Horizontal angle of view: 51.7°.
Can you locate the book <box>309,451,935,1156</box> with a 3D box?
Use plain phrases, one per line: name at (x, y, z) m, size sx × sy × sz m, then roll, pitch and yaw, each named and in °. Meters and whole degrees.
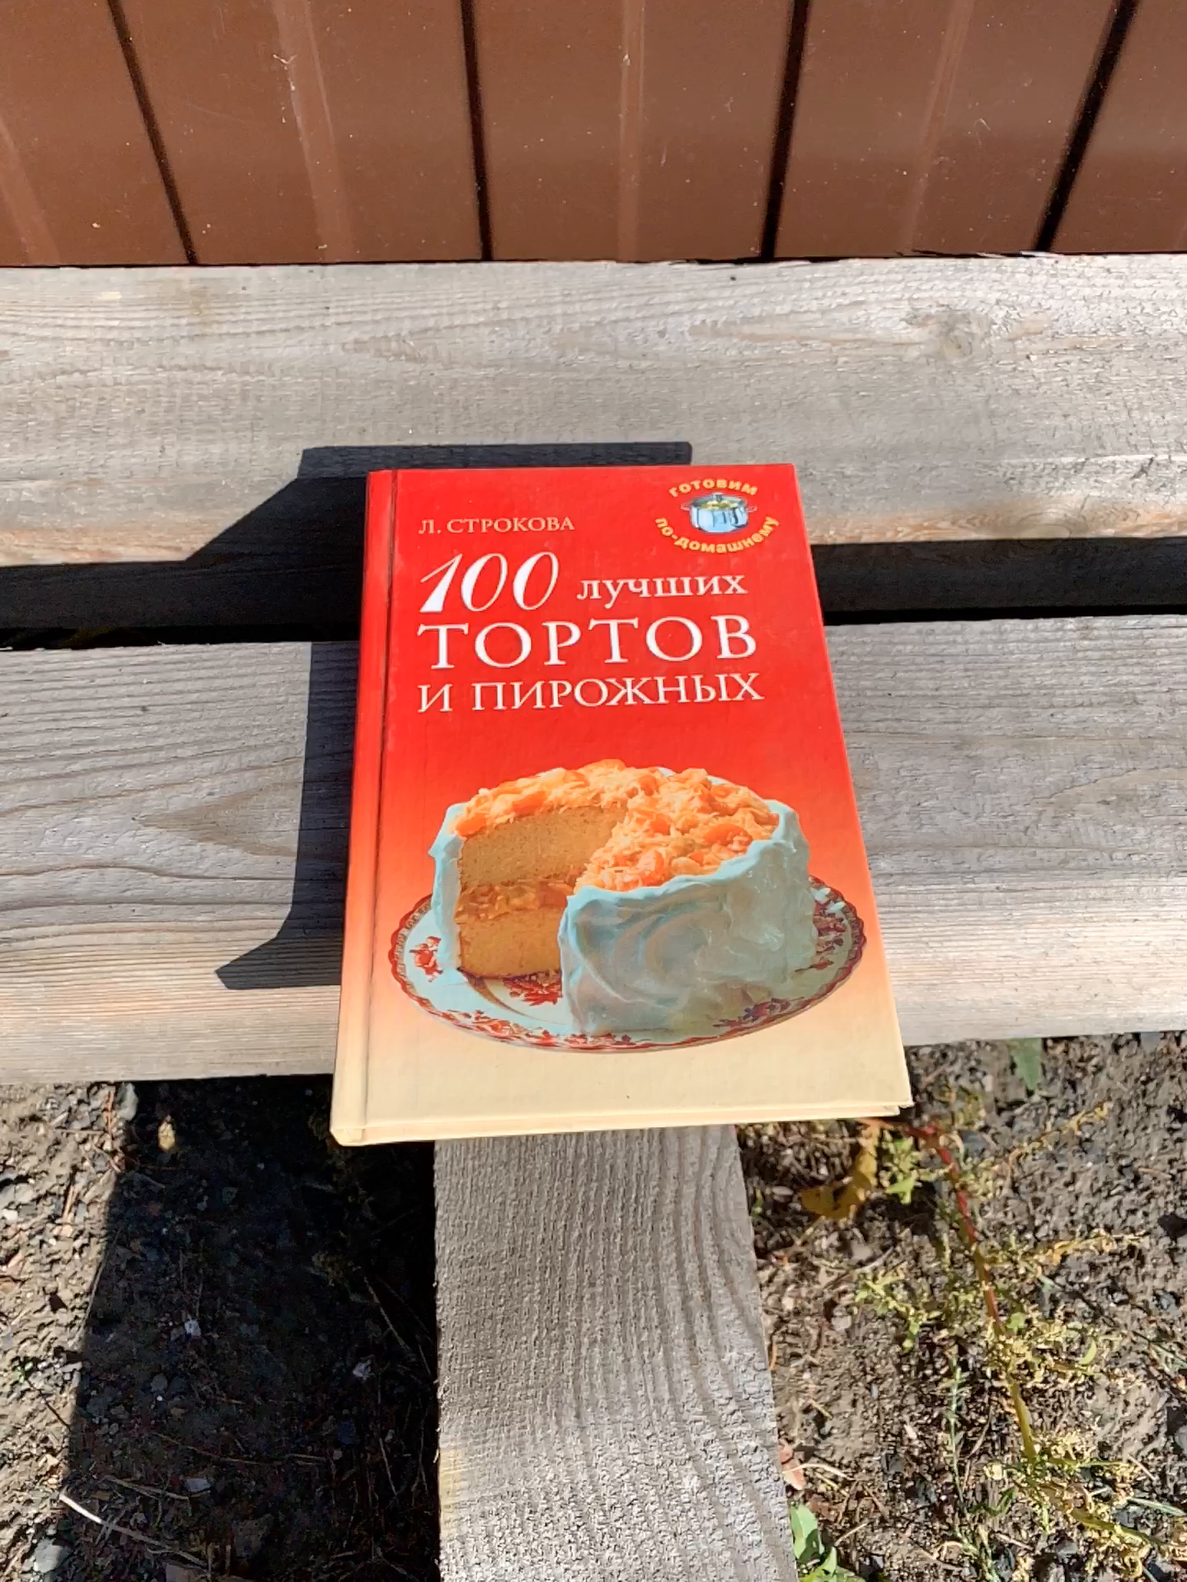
book at (0.002, -0.012, 0.344) m, size 0.143 × 0.017 × 0.219 m, roll -2°, pitch 57°, yaw -2°
